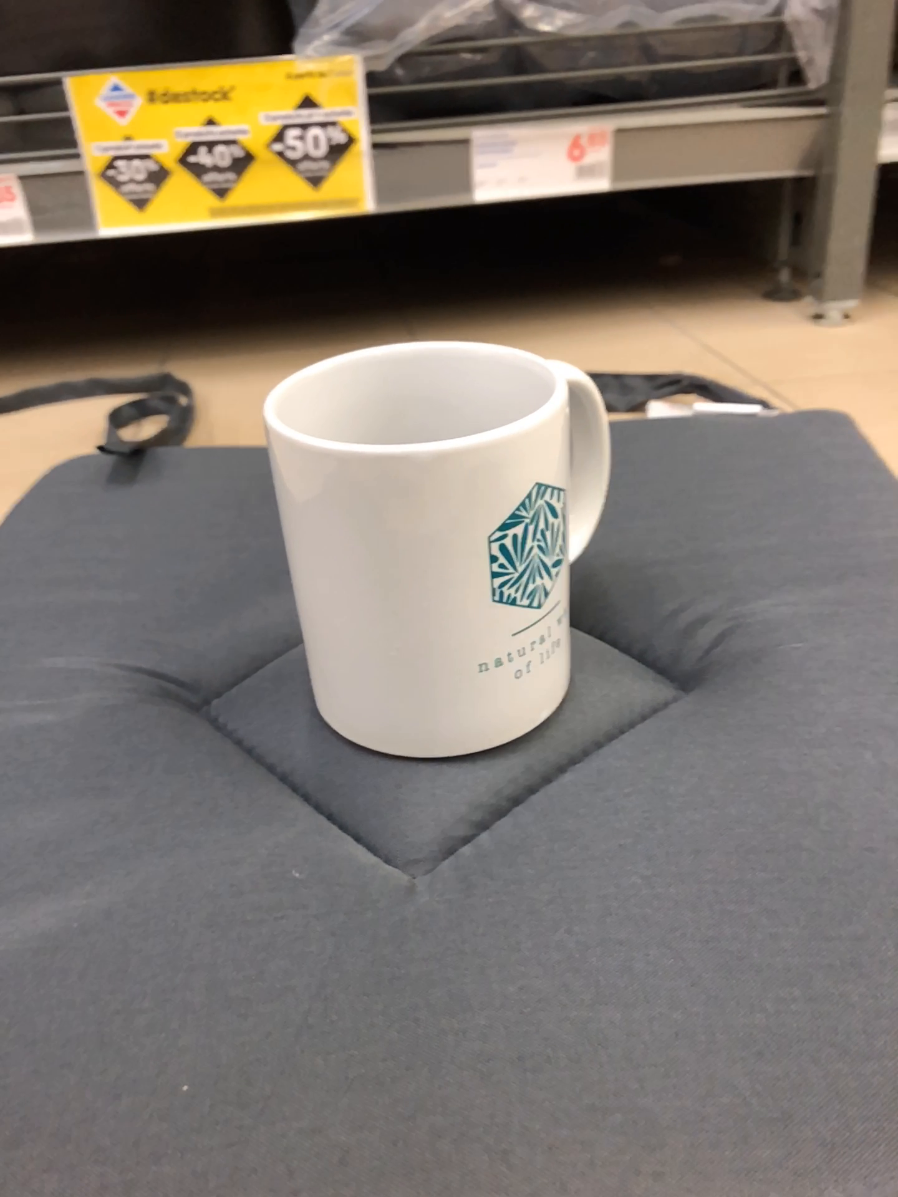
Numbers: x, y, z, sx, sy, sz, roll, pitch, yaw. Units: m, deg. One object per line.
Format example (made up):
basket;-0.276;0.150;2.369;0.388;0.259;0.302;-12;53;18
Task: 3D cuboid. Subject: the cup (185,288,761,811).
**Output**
cup;0.012;-0.026;0.290;0.090;0.089;0.131;23;39;40
